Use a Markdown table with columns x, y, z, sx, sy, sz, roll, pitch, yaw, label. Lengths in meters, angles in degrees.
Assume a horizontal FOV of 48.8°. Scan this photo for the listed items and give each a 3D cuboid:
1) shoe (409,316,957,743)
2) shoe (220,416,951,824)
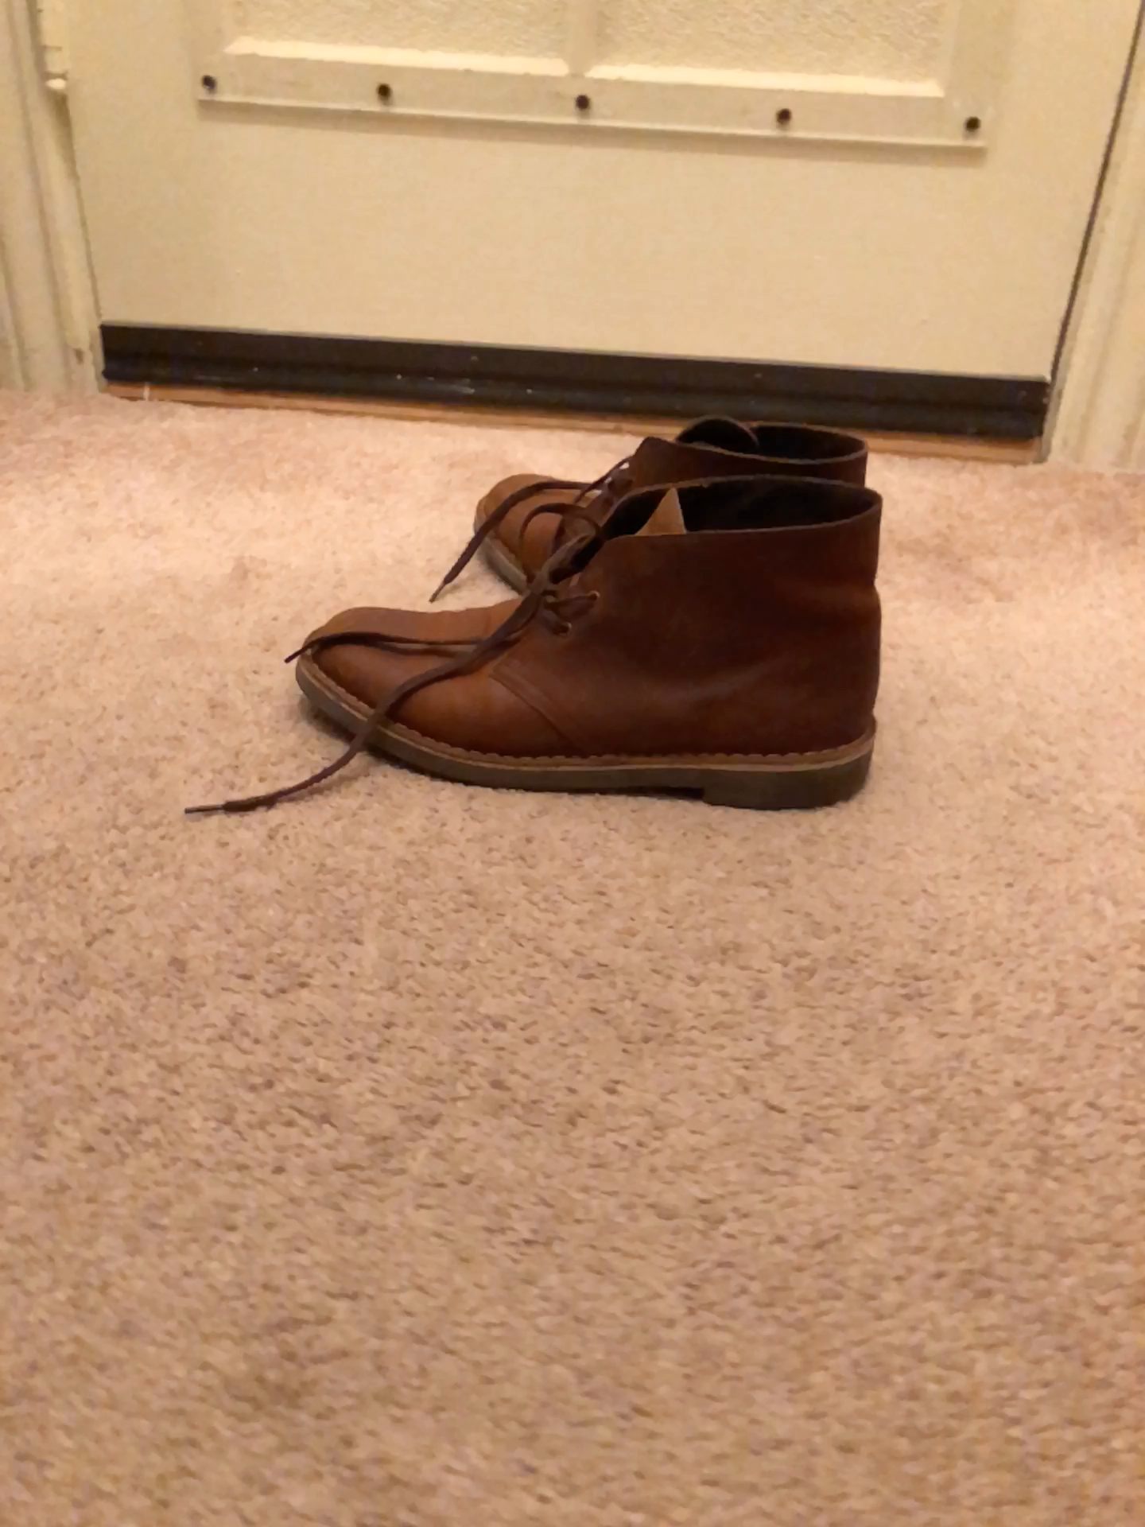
| x | y | z | sx | sy | sz | roll | pitch | yaw | label |
| --- | --- | --- | --- | --- | --- | --- | --- | --- | --- |
| 0.046 | -0.150 | 0.732 | 0.304 | 0.138 | 0.111 | 30 | 41 | 35 | shoe |
| 0.005 | -0.071 | 0.605 | 0.303 | 0.138 | 0.111 | 4 | 32 | 2 | shoe |
